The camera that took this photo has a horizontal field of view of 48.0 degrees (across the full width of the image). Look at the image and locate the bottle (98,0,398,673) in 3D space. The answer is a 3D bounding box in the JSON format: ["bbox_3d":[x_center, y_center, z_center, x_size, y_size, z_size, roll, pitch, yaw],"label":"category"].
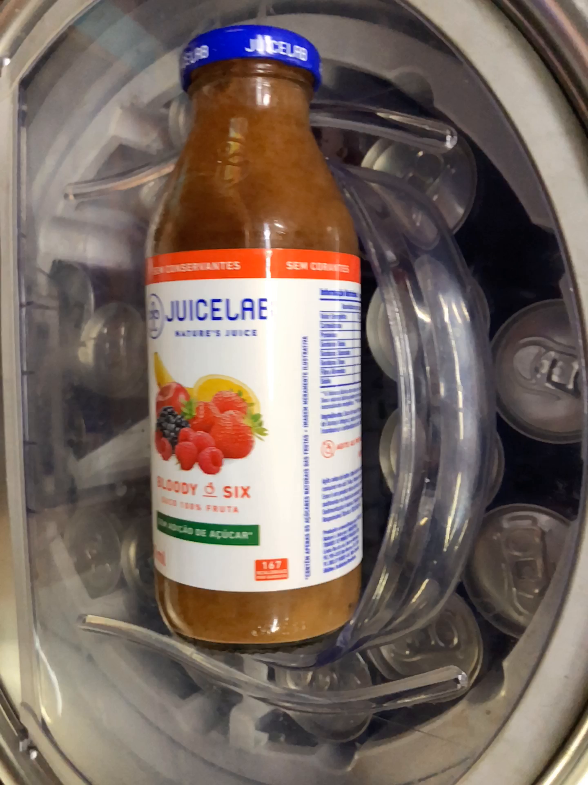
[{"bbox_3d":[-0.010,-0.027,0.202,0.070,0.060,0.190,1,93,22],"label":"bottle"}]
